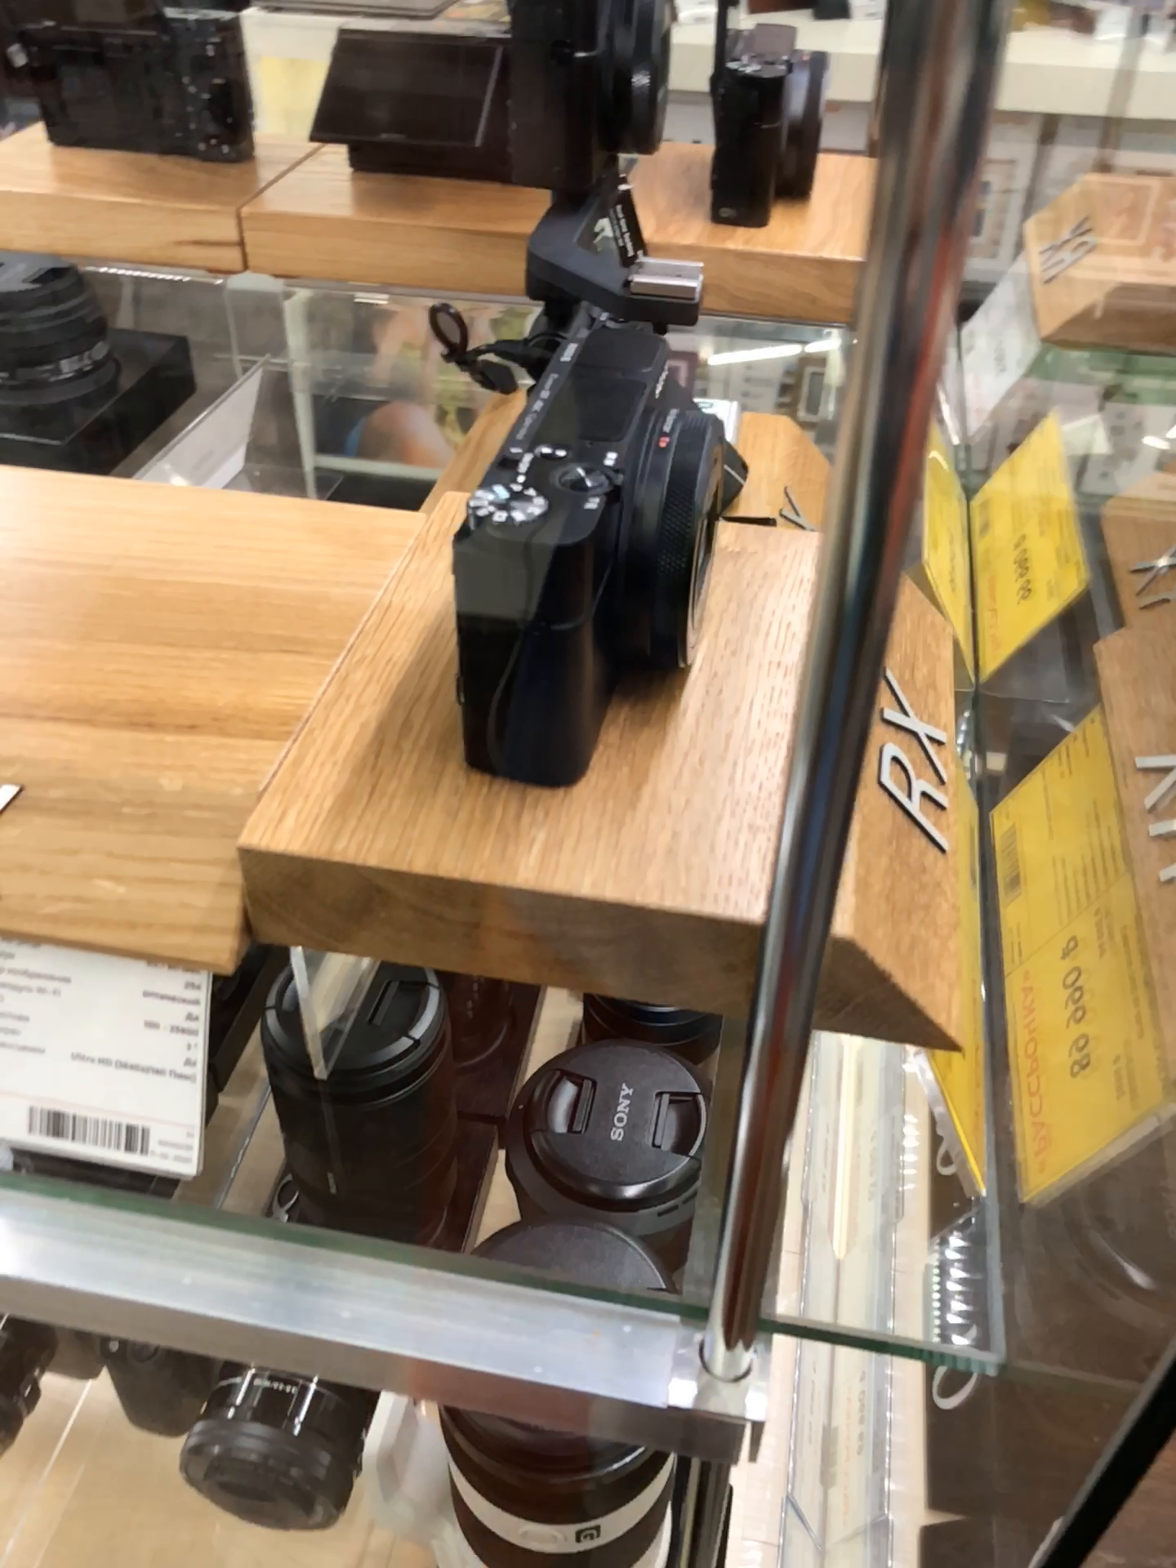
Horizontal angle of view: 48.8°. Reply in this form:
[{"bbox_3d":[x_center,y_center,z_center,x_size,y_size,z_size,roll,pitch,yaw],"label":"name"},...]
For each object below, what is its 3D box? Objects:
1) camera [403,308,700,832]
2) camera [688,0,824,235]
[{"bbox_3d":[-0.004,-0.051,0.287,0.040,0.070,0.101,8,41,8],"label":"camera"},{"bbox_3d":[0.076,-0.304,0.577,0.040,0.070,0.143,8,41,8],"label":"camera"}]
